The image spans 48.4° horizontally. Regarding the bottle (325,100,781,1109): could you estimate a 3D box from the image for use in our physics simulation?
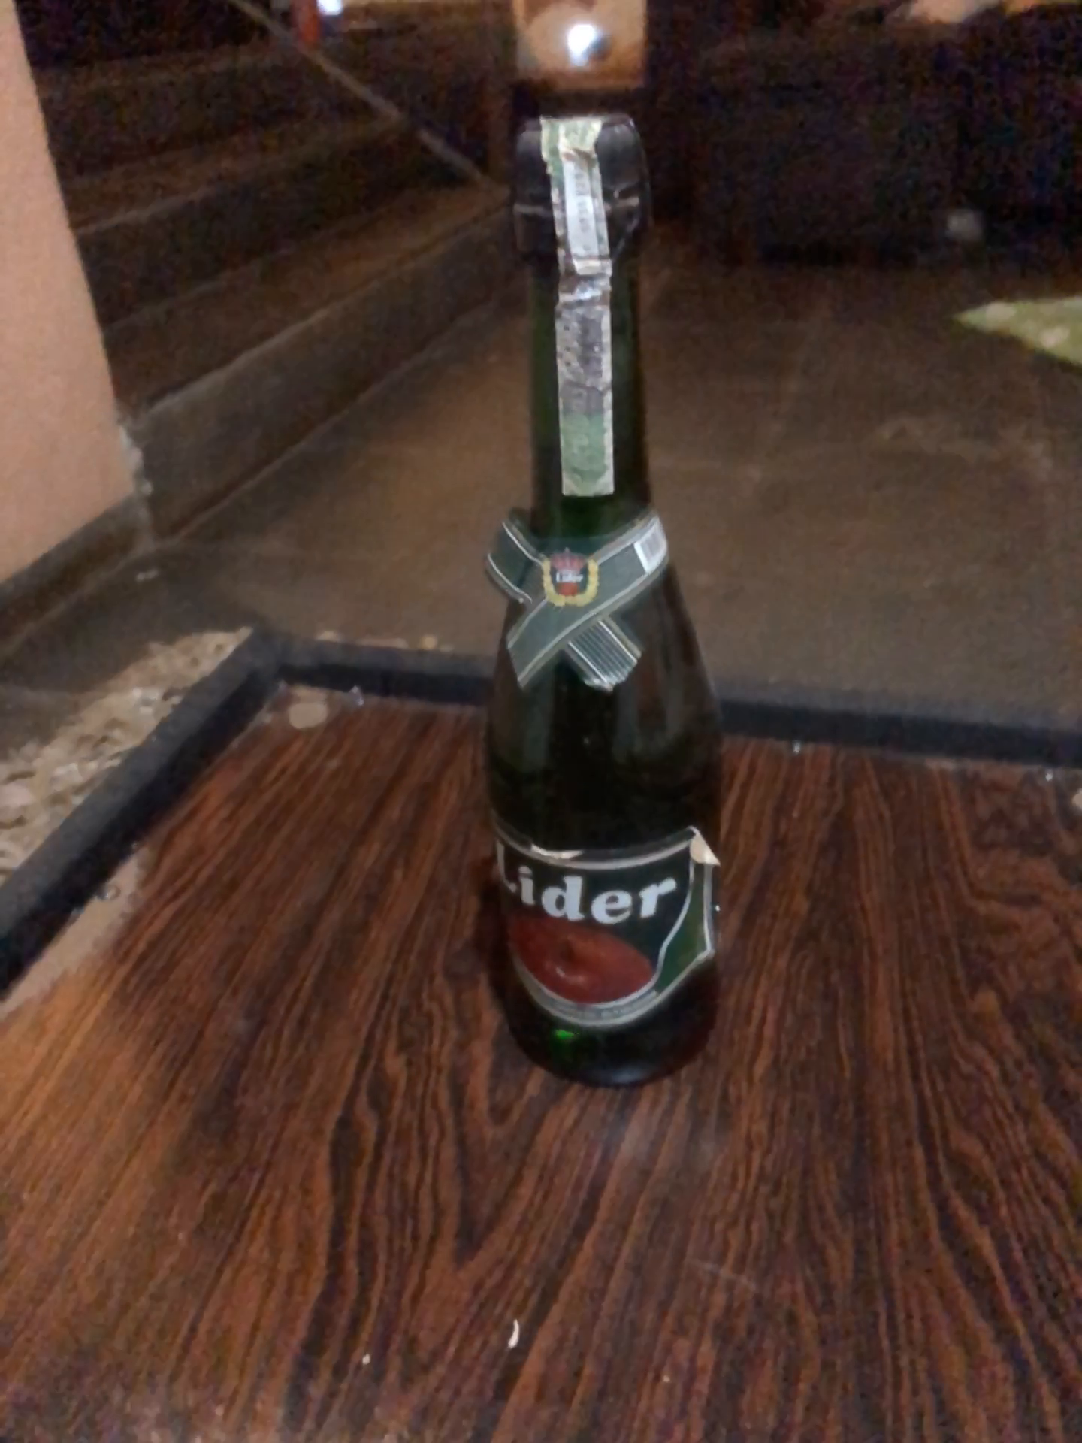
[{"bbox_3d":[0.015,-0.023,0.367,0.090,0.288,0.081,8,33,18],"label":"bottle"}]
